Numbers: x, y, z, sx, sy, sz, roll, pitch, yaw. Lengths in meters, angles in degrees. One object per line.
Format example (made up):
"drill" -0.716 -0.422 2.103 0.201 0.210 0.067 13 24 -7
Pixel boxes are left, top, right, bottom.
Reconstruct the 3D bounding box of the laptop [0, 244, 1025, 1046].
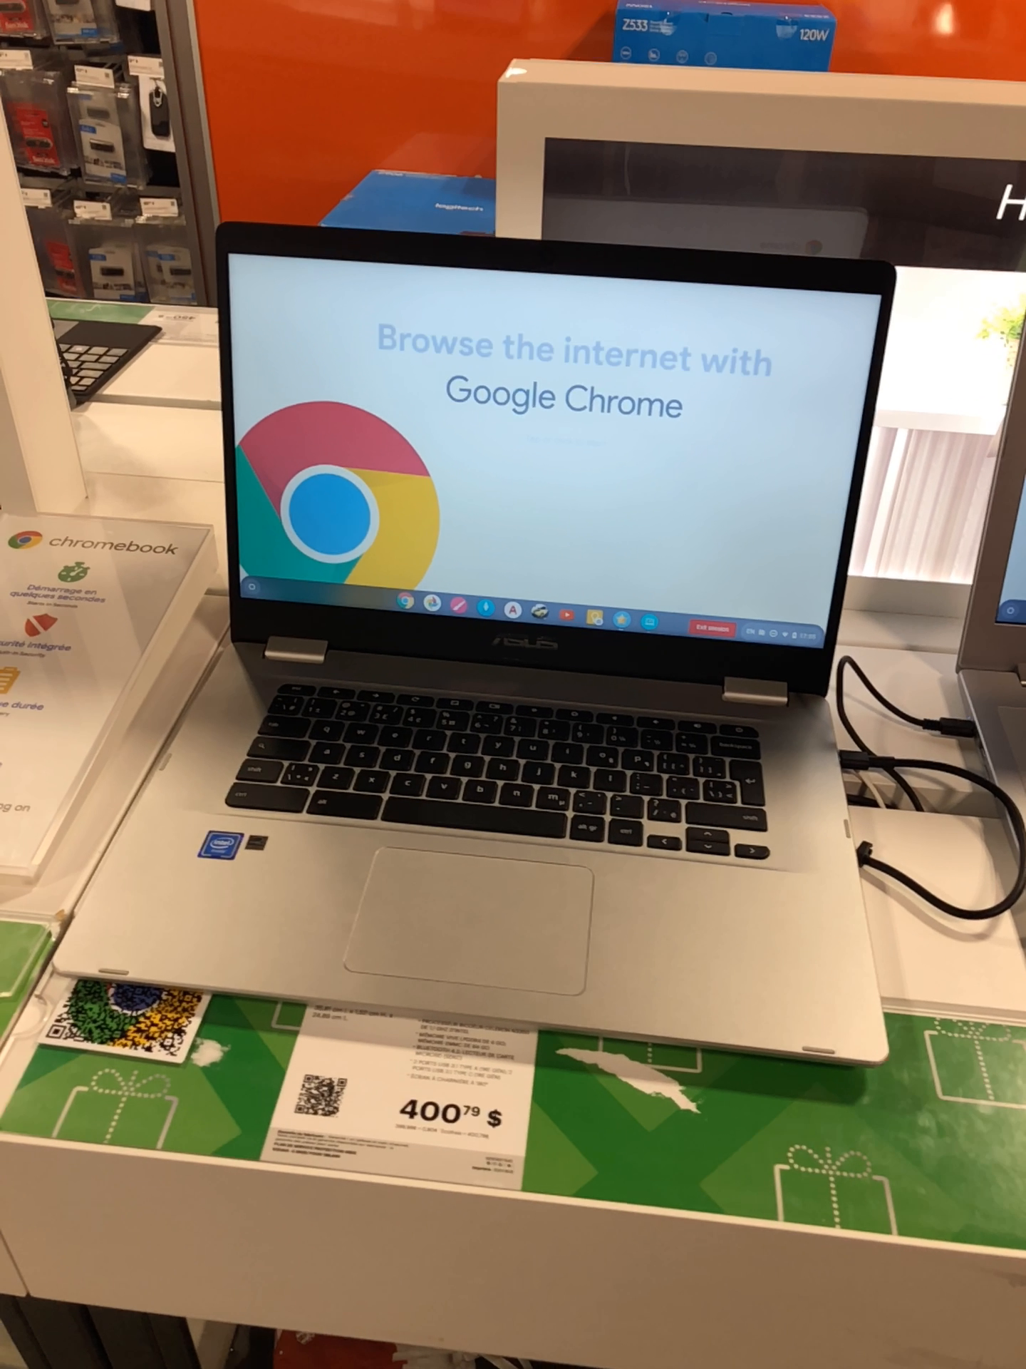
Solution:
"laptop" 0.002 -0.040 0.512 0.337 0.225 0.287 5 36 5
